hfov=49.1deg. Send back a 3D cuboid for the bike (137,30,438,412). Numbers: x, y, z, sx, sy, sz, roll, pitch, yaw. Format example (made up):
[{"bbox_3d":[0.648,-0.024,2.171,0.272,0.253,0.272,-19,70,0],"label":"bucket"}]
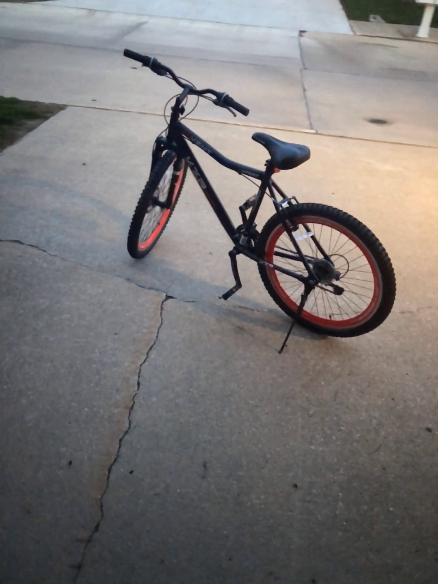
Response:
[{"bbox_3d":[0.228,-0.456,2.181,0.600,1.031,1.426,-23,45,-34],"label":"bike"}]
